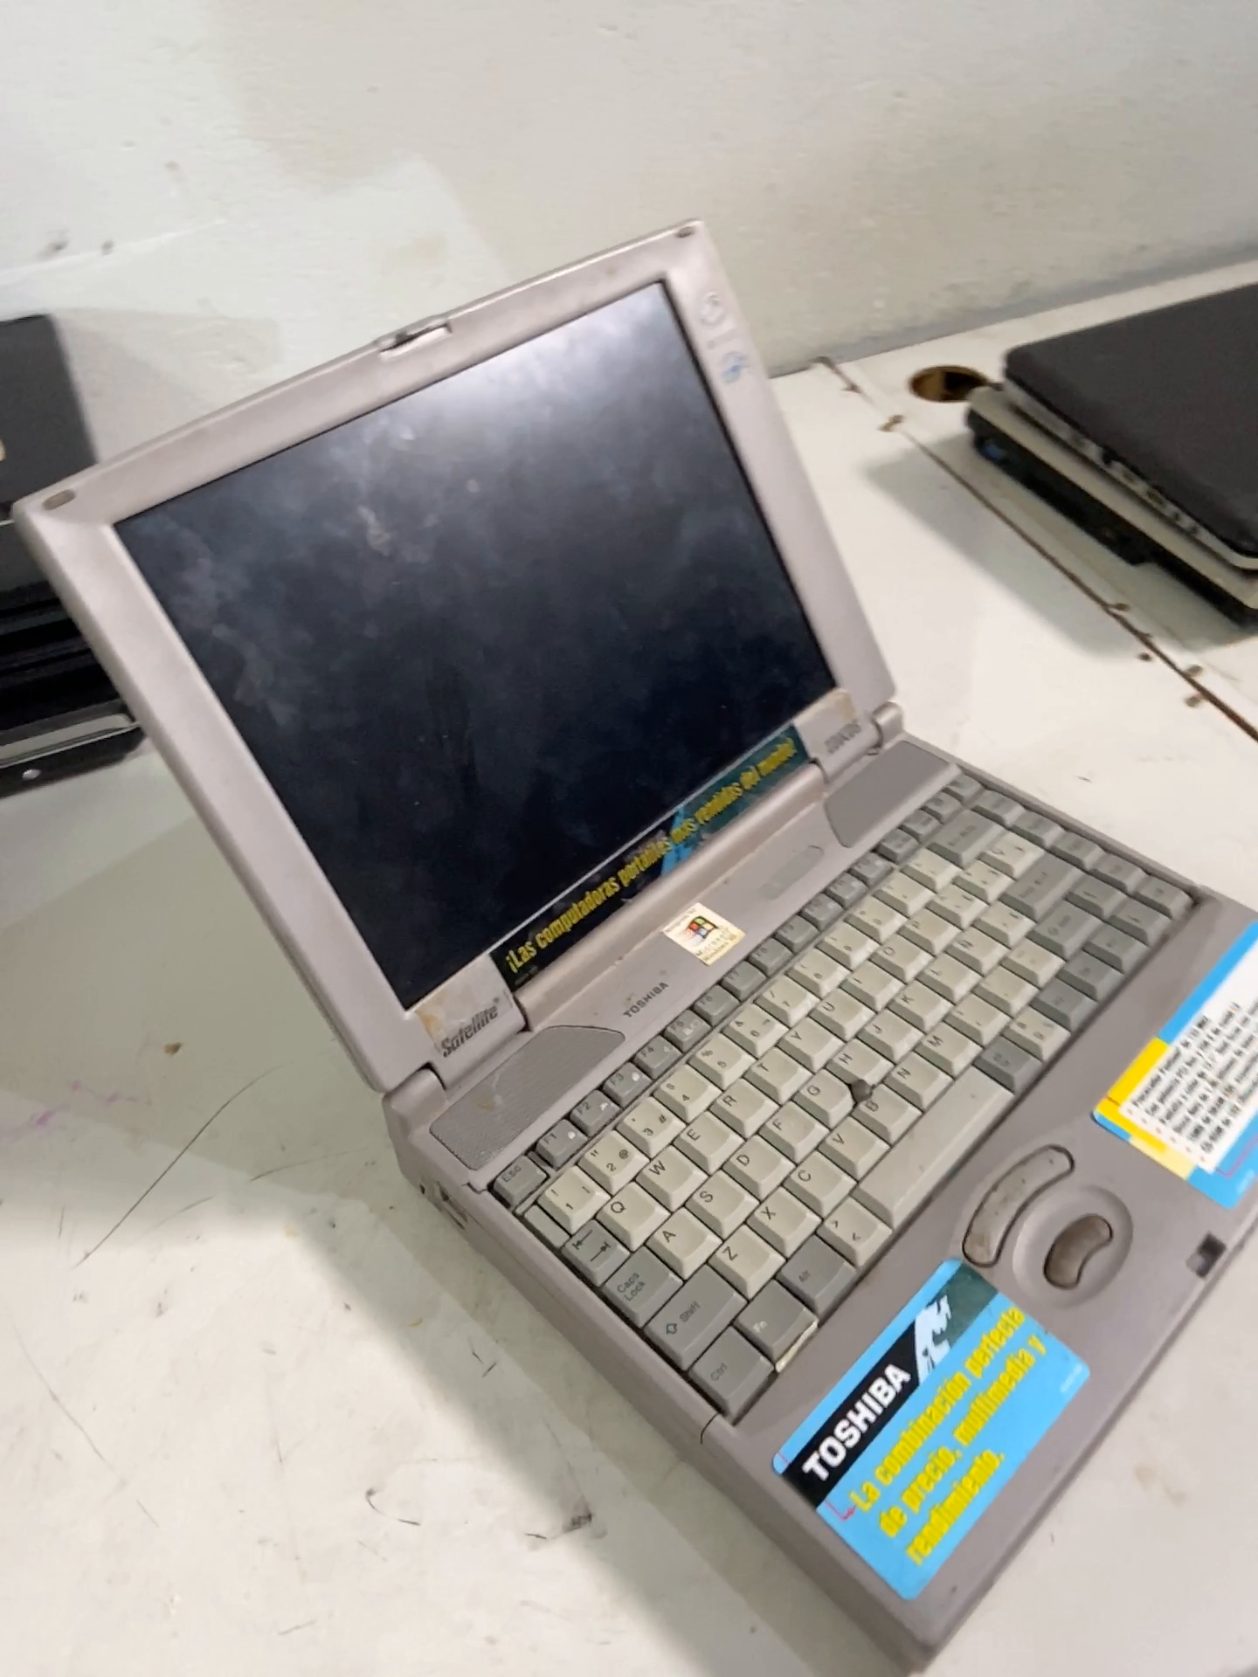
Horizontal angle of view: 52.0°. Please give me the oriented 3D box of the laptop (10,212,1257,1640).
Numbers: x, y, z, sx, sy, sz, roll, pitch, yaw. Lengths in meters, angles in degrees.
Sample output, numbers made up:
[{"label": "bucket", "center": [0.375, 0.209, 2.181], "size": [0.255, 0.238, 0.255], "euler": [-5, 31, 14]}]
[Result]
[{"label": "laptop", "center": [0.052, -0.024, 0.436], "size": [0.302, 0.195, 0.358], "euler": [-36, 53, -29]}]
